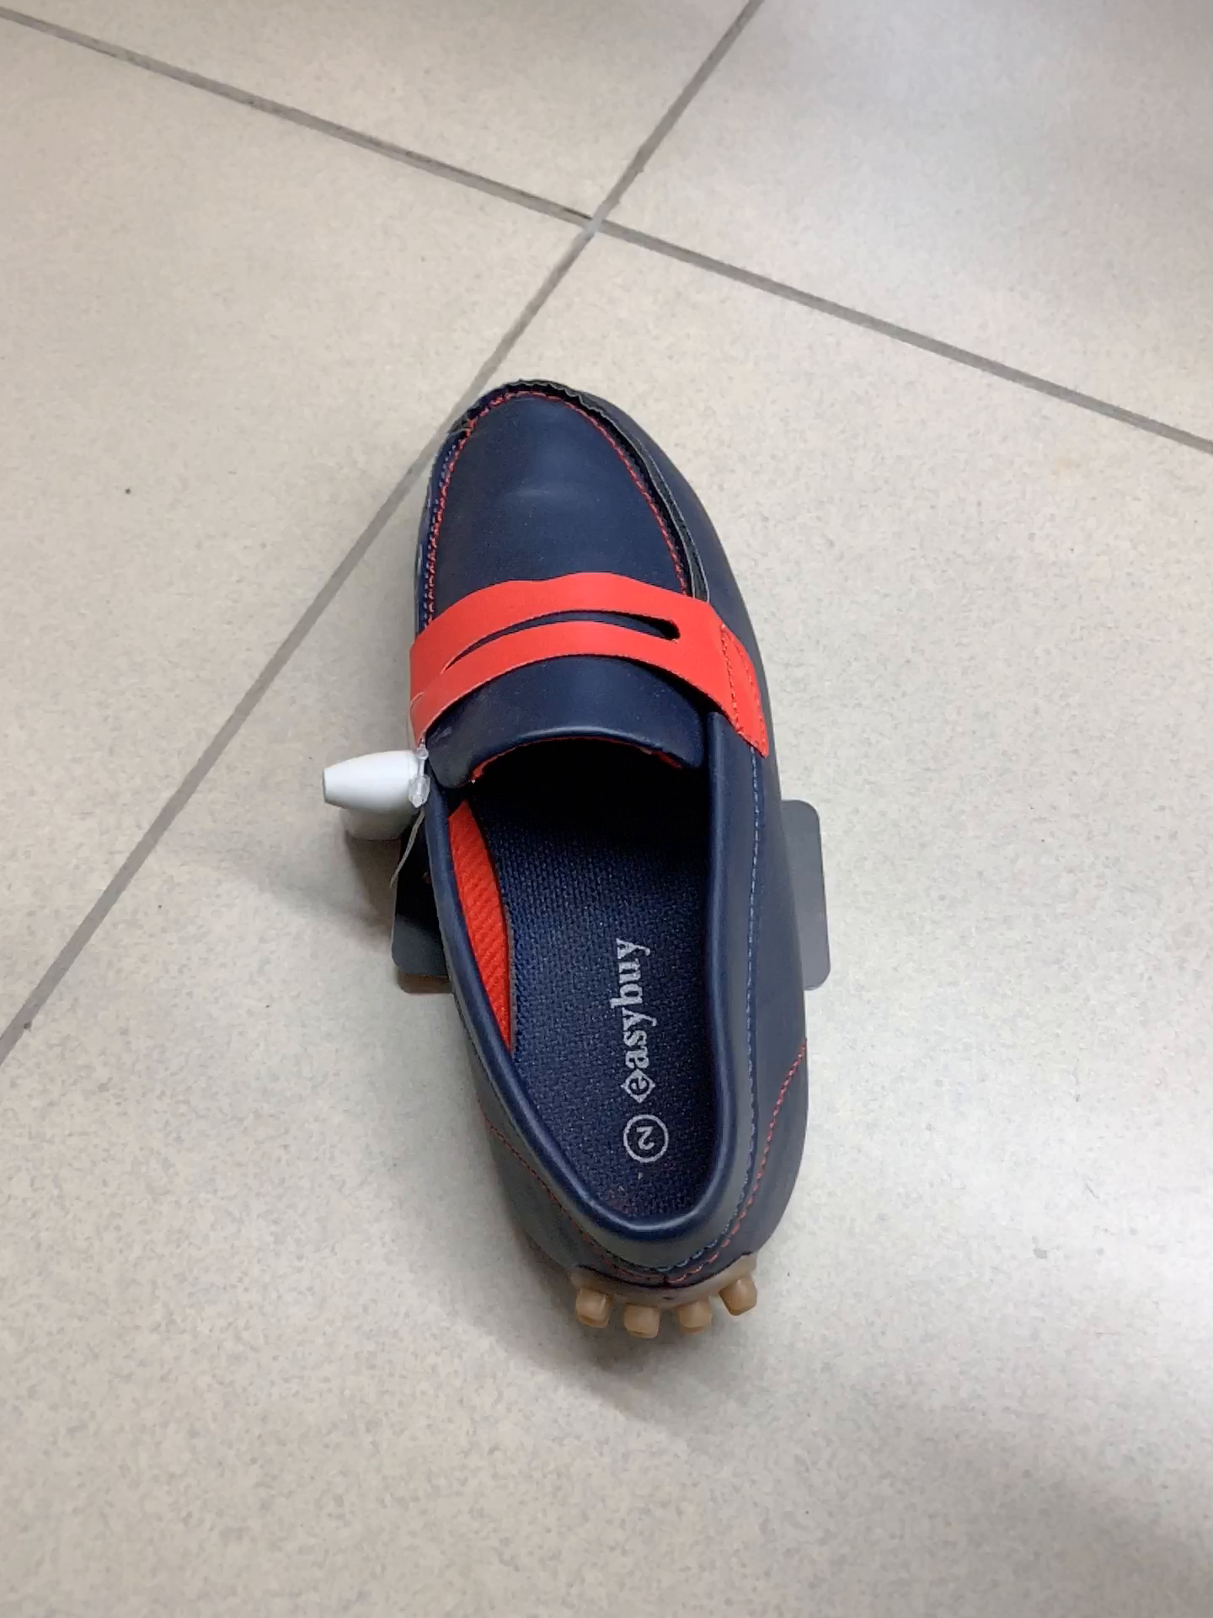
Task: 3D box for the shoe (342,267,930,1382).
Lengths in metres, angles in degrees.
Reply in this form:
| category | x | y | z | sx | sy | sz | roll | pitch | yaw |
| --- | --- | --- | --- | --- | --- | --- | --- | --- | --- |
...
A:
| category | x | y | z | sx | sy | sz | roll | pitch | yaw |
| --- | --- | --- | --- | --- | --- | --- | --- | --- | --- |
| shoe | -0.004 | -0.007 | 0.236 | 0.080 | 0.050 | 0.200 | -5 | 65 | -2 |
